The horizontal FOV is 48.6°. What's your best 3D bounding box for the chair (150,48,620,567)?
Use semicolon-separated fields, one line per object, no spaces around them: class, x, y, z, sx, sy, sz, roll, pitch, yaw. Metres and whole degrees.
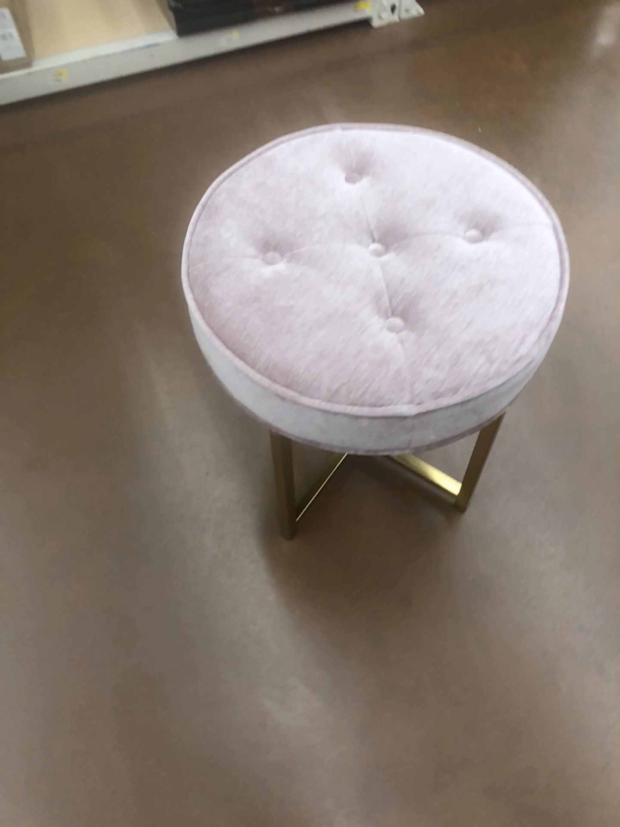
chair;0.078;-0.134;0.914;0.450;0.389;0.471;-12;58;-6
